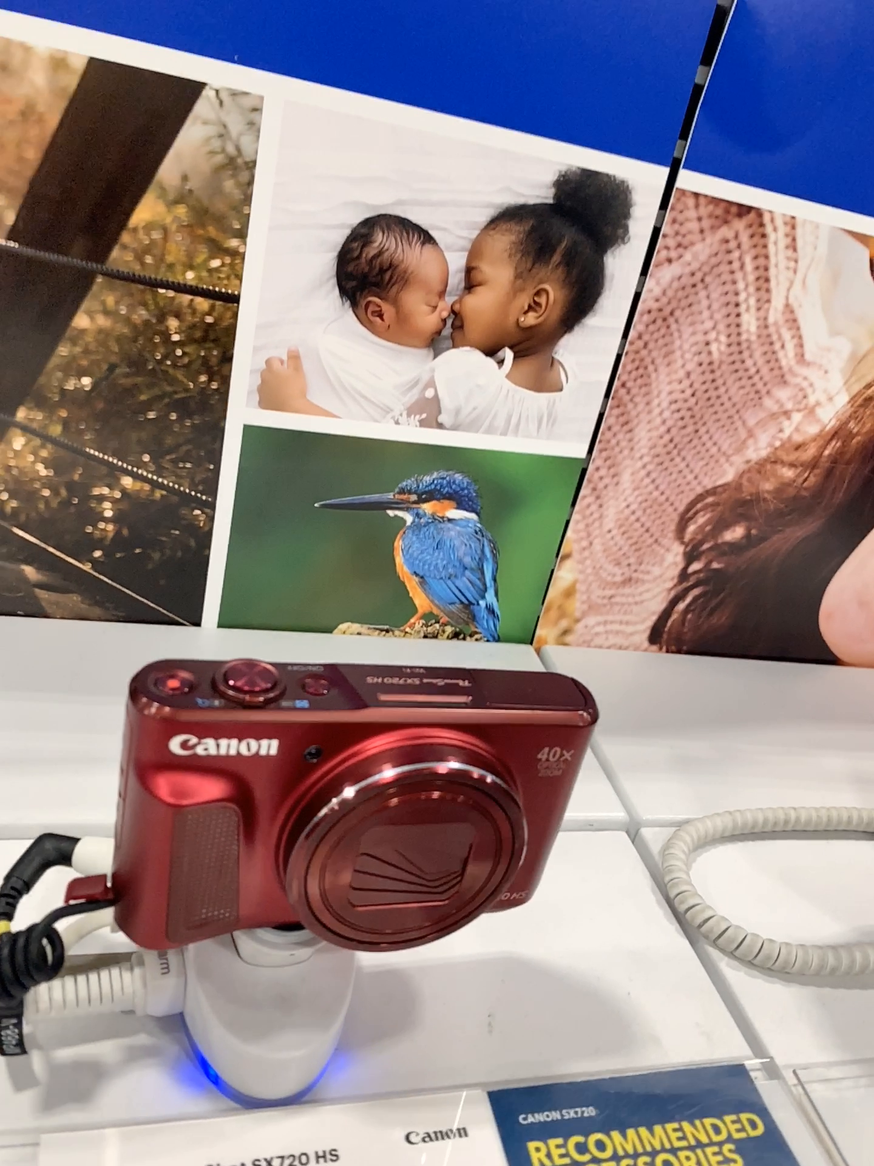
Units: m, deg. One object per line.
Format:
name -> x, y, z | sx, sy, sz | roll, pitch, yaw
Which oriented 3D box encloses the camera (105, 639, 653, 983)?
camera -> -0.015, 0.051, 0.209 | 0.110, 0.060, 0.037 | 4, 26, -21
